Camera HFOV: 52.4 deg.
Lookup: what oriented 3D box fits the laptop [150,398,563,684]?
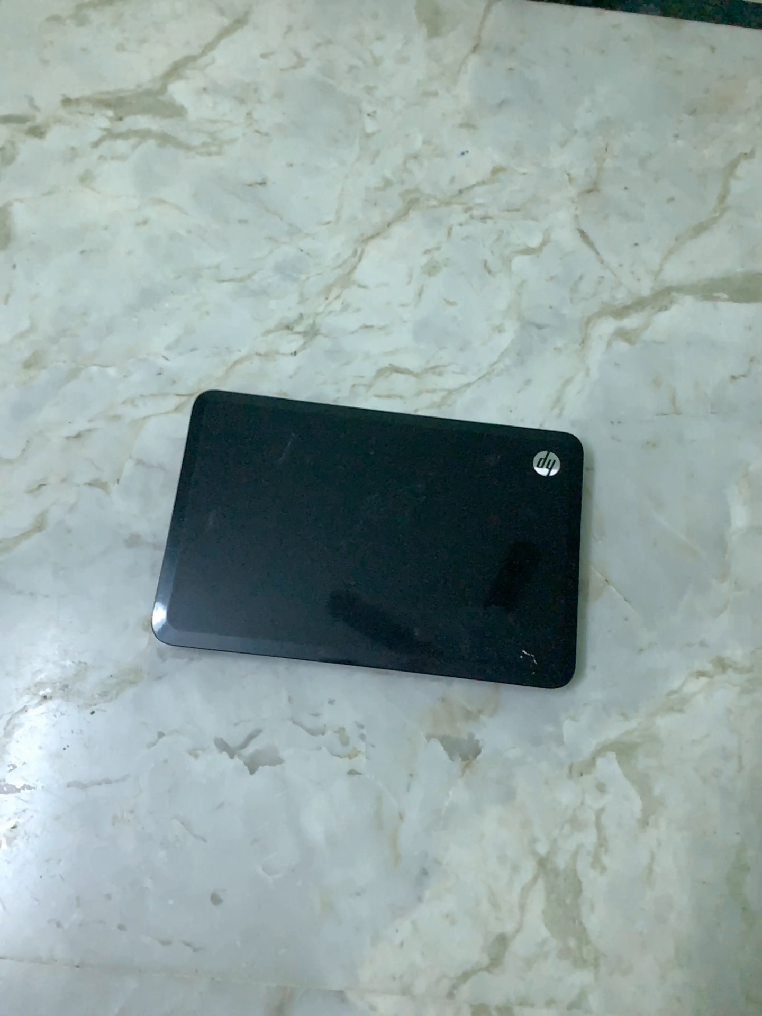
[{"bbox_3d":[-0.010,0.023,0.677,0.333,0.022,0.222,7,67,0],"label":"laptop"}]
